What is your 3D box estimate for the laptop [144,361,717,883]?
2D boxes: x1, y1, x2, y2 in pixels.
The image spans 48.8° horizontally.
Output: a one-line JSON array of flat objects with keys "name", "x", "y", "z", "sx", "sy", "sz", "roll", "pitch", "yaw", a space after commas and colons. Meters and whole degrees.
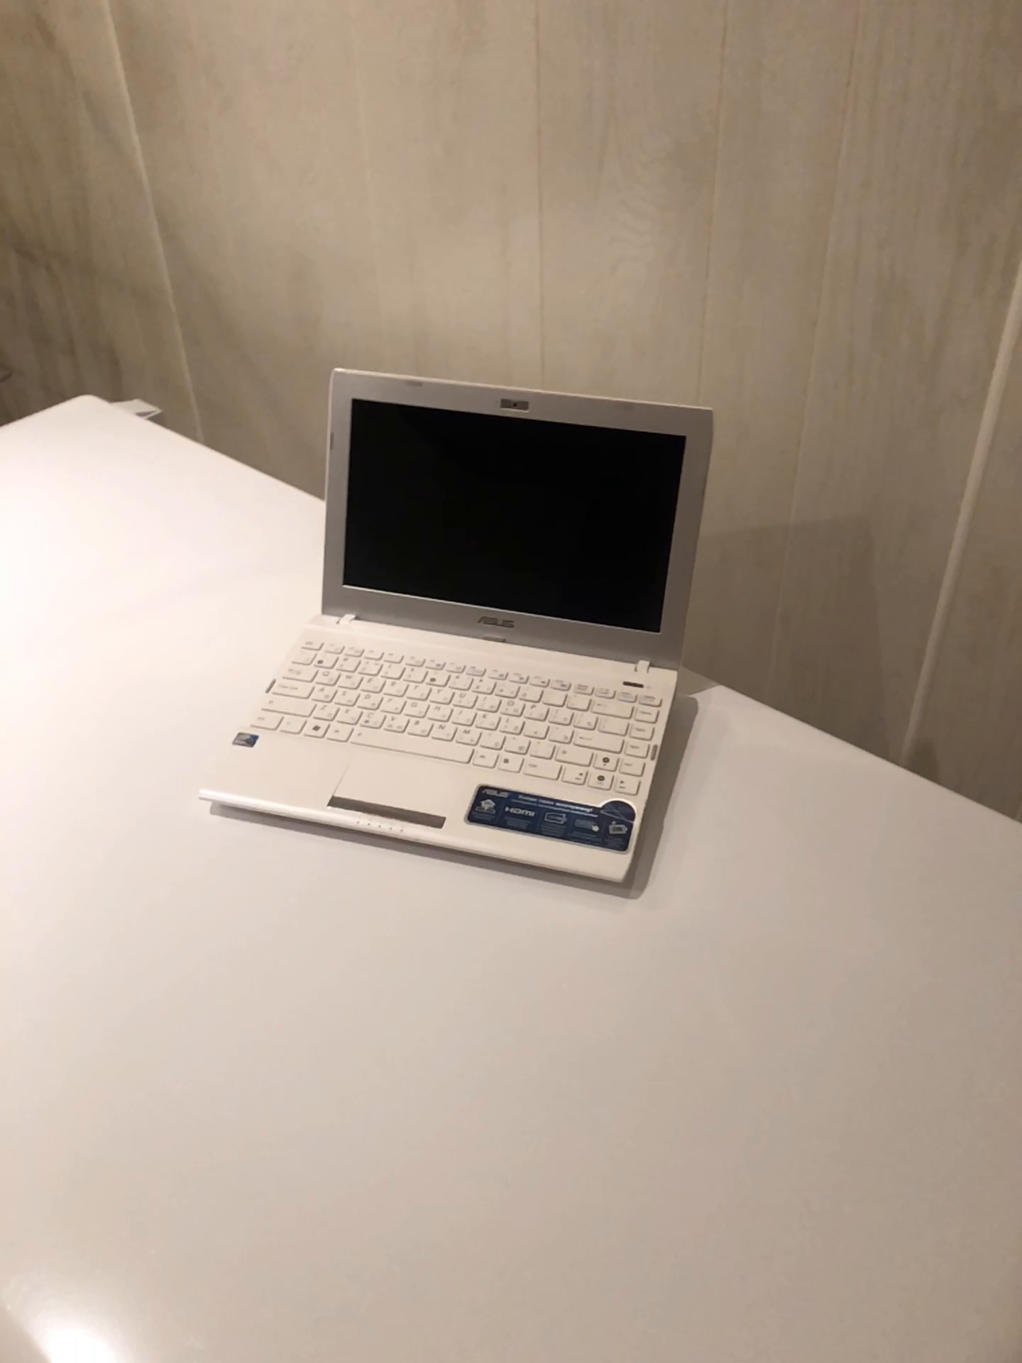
[{"name": "laptop", "x": -0.031, "y": -0.061, "z": 0.768, "sx": 0.287, "sy": 0.168, "sz": 0.294, "roll": 9, "pitch": 41, "yaw": 14}]
